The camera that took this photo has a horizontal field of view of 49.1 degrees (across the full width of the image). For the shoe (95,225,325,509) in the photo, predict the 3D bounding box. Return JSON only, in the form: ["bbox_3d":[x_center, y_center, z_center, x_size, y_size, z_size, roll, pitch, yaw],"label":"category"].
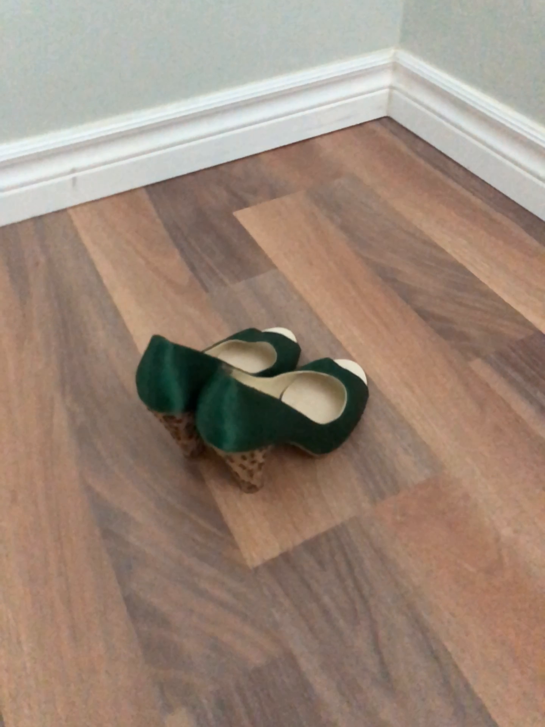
[{"bbox_3d":[-0.041,-0.004,0.540,0.090,0.129,0.211,21,52,20],"label":"shoe"}]

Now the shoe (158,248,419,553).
[{"bbox_3d":[0.022,0.024,0.500,0.090,0.129,0.211,29,55,25],"label":"shoe"}]
